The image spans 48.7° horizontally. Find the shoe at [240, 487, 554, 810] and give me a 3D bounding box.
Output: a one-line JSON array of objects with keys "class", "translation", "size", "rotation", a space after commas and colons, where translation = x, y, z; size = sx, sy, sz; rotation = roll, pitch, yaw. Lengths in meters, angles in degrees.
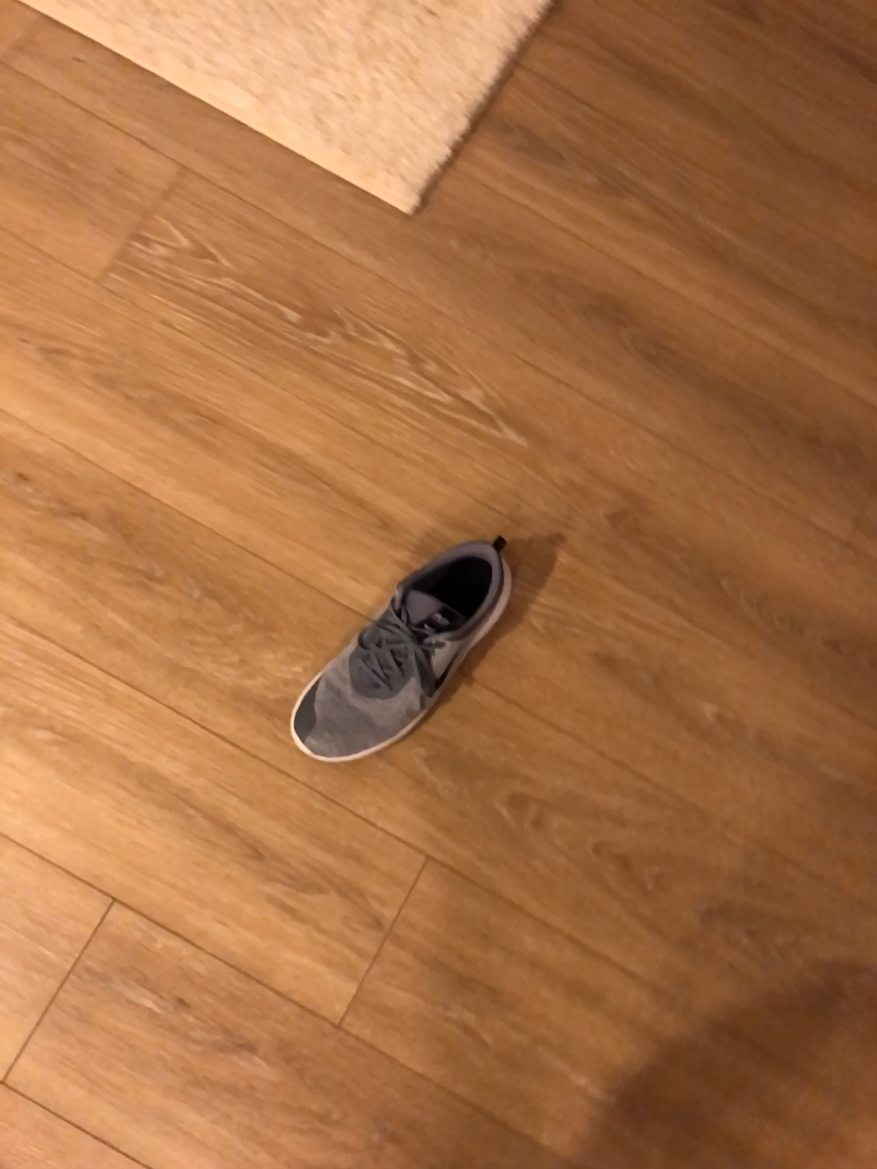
[{"class": "shoe", "translation": [-0.040, 0.066, 1.020], "size": [0.140, 0.080, 0.320], "rotation": [42, 74, 4]}]
